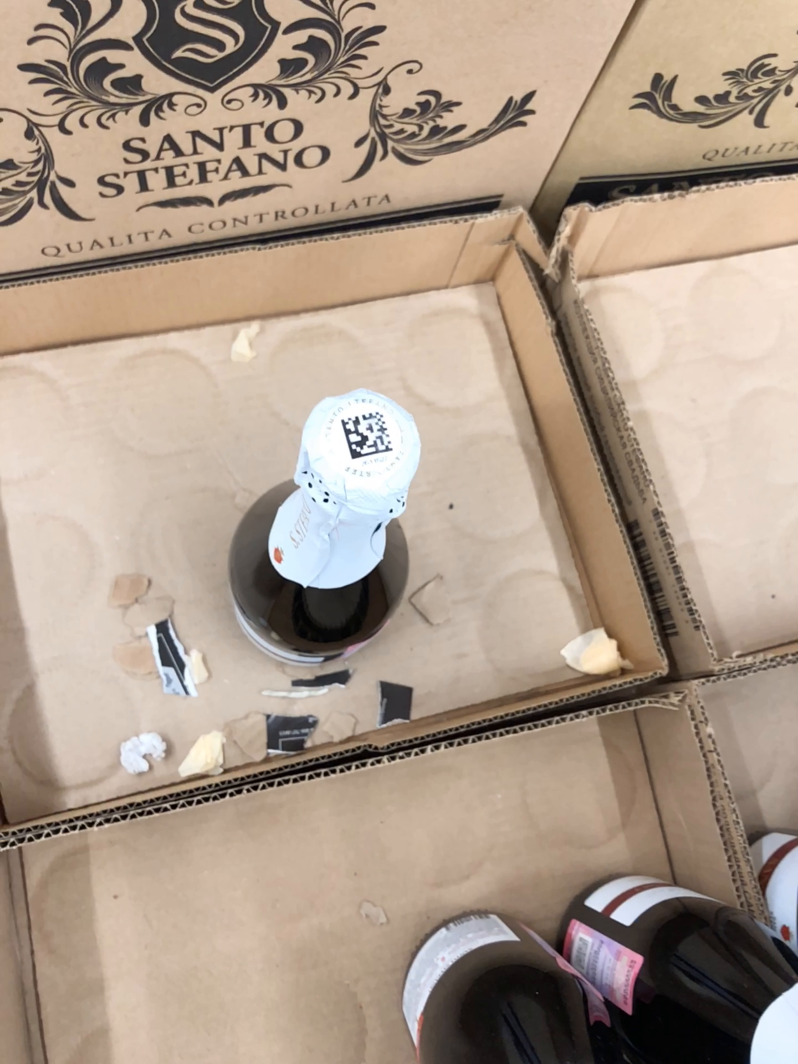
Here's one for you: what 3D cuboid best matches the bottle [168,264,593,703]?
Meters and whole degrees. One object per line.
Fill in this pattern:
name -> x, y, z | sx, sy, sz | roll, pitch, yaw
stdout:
bottle -> -0.026, 0.012, 0.390 | 0.090, 0.310, 0.090 | 2, 77, -8
